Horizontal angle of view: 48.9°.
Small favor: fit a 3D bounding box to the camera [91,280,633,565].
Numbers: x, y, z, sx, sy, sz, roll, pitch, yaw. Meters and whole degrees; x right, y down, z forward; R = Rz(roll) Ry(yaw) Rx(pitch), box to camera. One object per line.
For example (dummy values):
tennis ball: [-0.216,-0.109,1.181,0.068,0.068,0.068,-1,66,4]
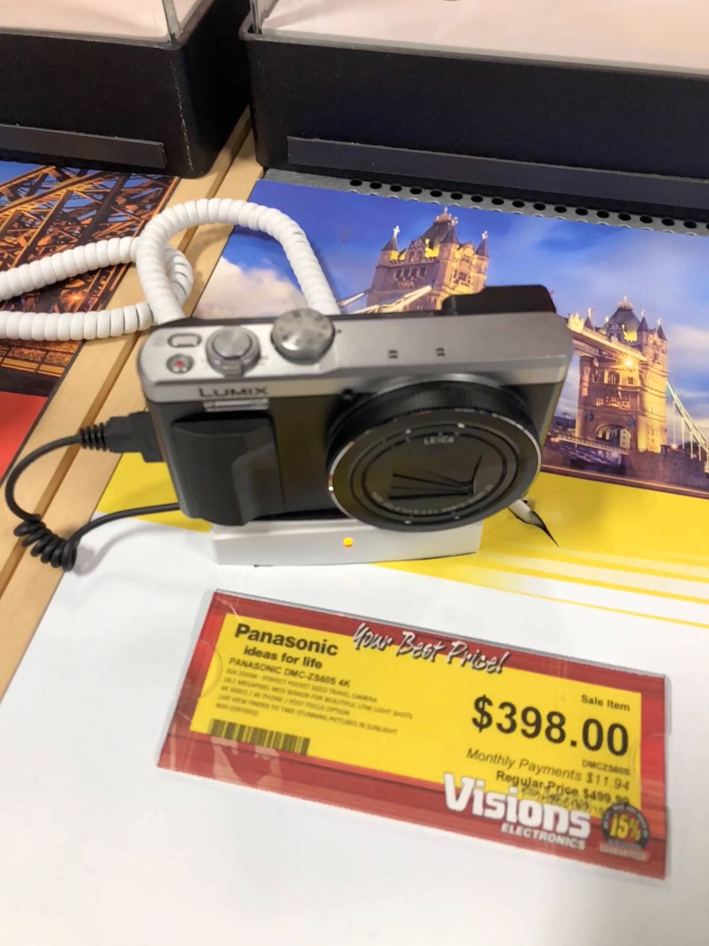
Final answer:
camera: [0.001,-0.011,0.209,0.120,0.060,0.040,-4,54,-1]
